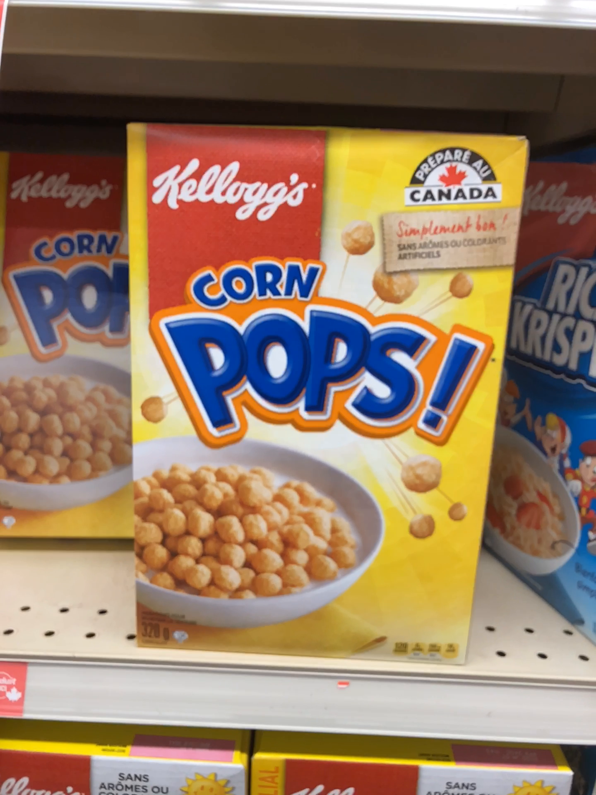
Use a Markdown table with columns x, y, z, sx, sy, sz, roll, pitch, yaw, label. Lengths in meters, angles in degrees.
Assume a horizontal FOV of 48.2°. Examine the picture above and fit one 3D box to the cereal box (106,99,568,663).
| x | y | z | sx | sy | sz | roll | pitch | yaw | label |
| --- | --- | --- | --- | --- | --- | --- | --- | --- | --- |
| 0.013 | -0.002 | 0.371 | 0.210 | 0.288 | 0.060 | 3 | 16 | 2 | cereal box |
